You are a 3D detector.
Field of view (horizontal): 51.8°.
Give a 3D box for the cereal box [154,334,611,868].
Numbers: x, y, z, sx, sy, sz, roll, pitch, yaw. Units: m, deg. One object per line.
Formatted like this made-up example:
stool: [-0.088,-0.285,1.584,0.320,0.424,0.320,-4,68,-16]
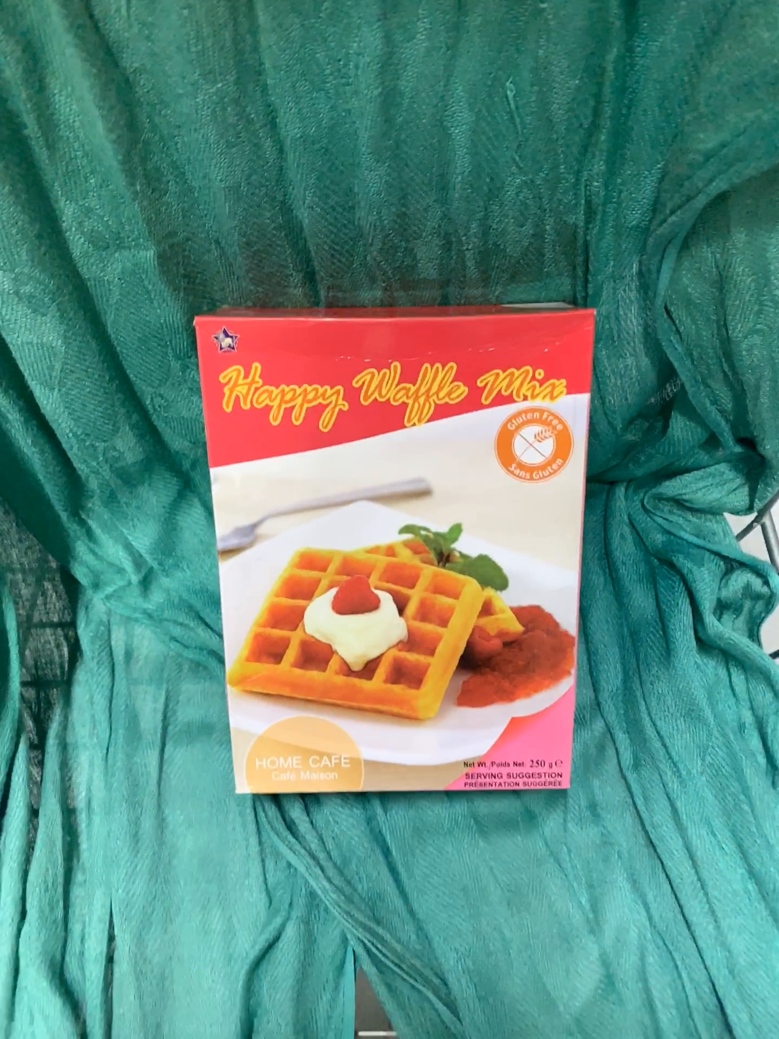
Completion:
cereal box: [-0.001,0.031,0.281,0.130,0.180,0.050,0,19,2]
